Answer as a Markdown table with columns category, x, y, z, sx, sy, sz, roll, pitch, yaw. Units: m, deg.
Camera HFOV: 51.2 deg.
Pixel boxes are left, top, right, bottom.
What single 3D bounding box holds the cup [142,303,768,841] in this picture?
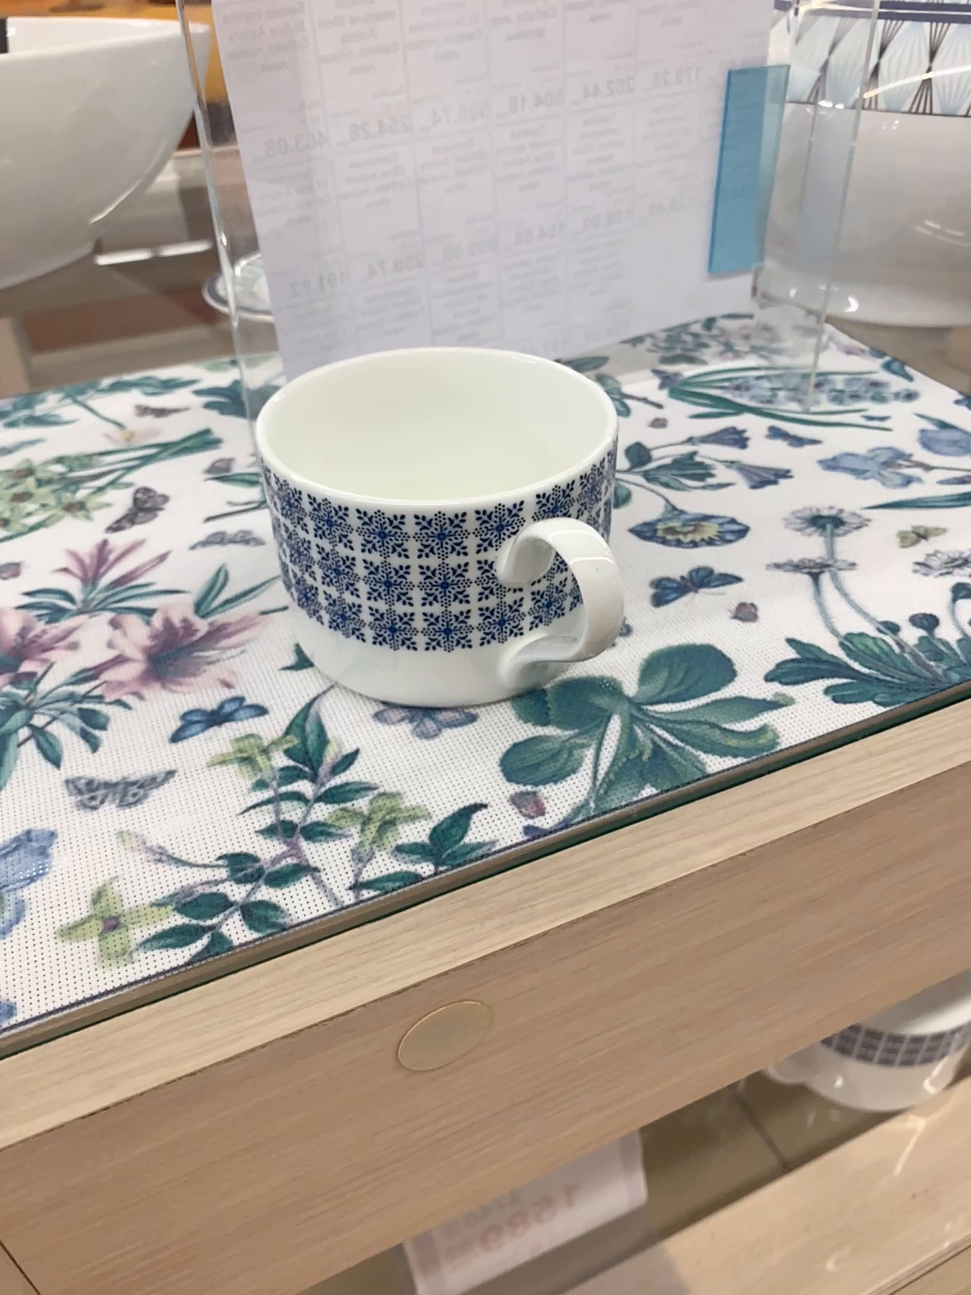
| category | x | y | z | sx | sy | sz | roll | pitch | yaw |
| --- | --- | --- | --- | --- | --- | --- | --- | --- | --- |
| cup | -0.011 | -0.030 | 0.252 | 0.090 | 0.060 | 0.120 | -27 | 45 | -29 |
